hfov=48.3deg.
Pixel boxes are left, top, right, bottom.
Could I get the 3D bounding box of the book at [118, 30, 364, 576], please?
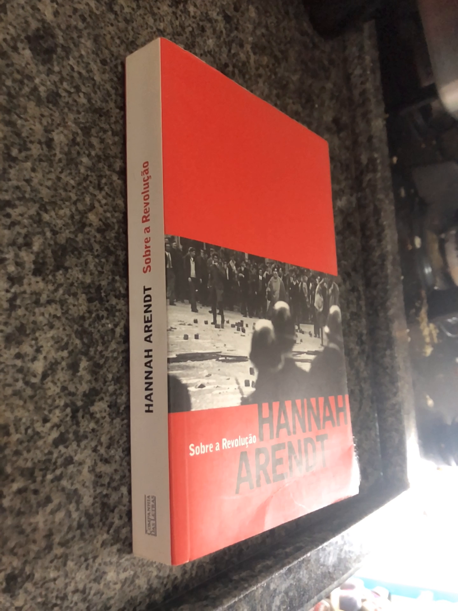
[{"bbox_3d":[0.013,-0.001,0.258,0.146,0.030,0.210,7,78,-49],"label":"book"}]
